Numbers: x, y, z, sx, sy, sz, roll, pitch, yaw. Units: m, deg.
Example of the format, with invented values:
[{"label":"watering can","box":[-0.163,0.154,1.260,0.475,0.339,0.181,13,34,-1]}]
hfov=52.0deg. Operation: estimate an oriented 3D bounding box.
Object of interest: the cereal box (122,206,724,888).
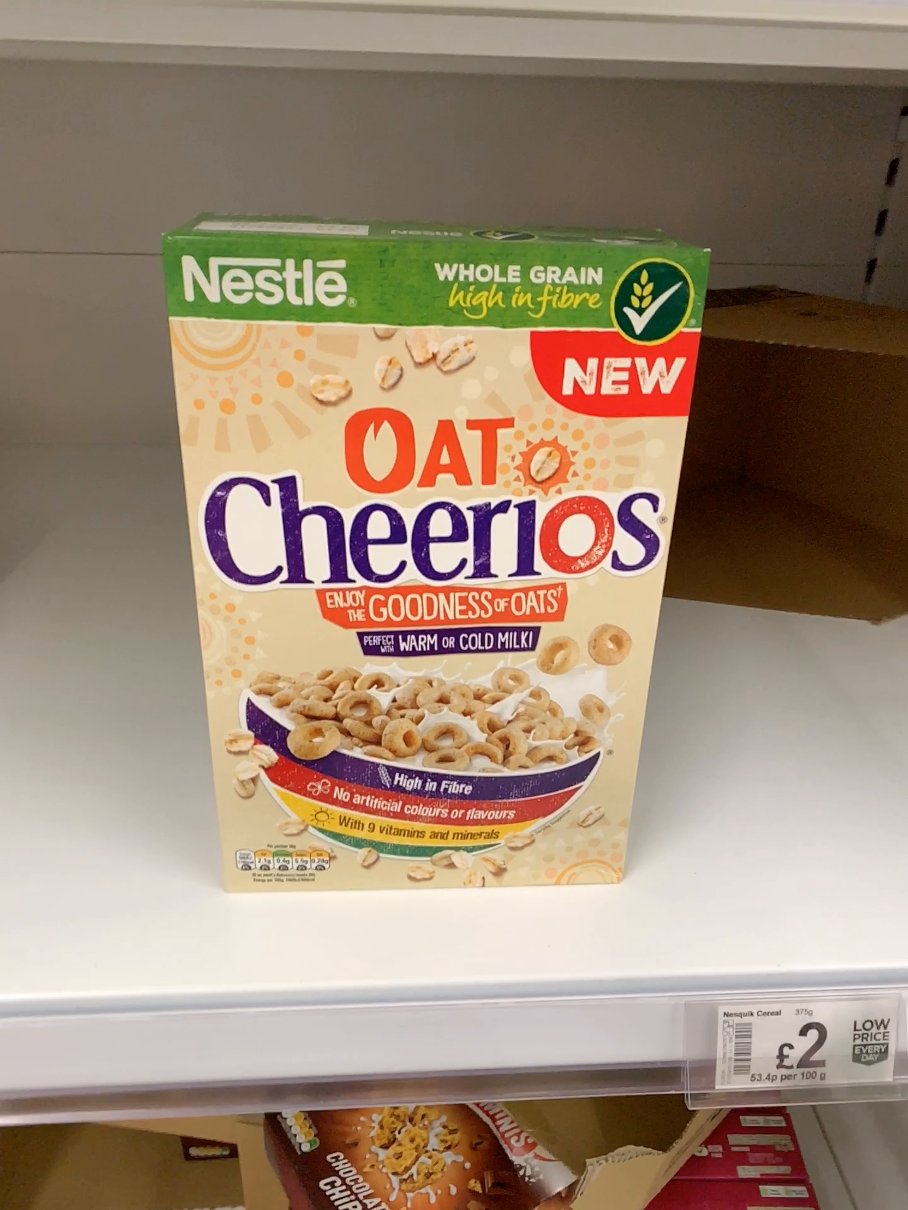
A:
[{"label":"cereal box","box":[-0.014,-0.012,0.406,0.200,0.287,0.071,0,27,-3]}]
